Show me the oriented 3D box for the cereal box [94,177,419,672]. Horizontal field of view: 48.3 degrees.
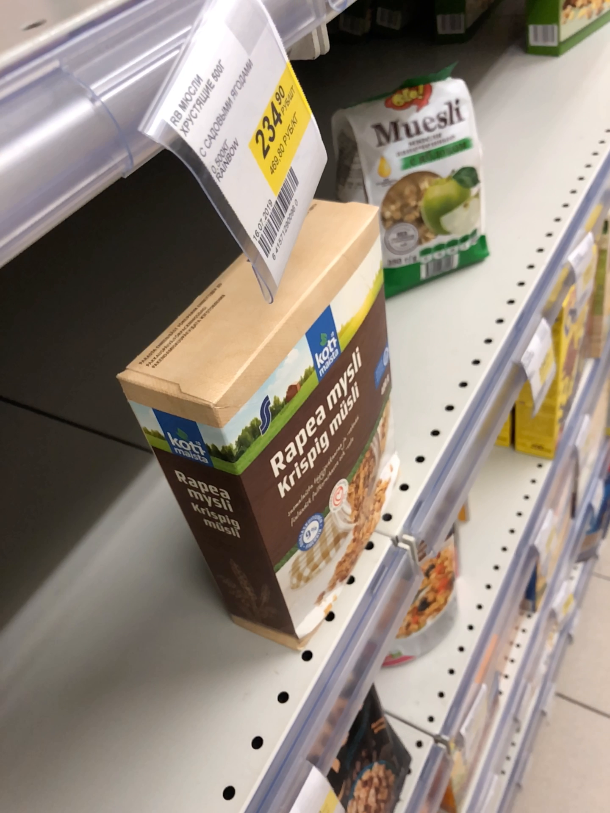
[{"bbox_3d":[-0.001,0.013,0.337,0.050,0.189,0.151,15,51,27],"label":"cereal box"}]
